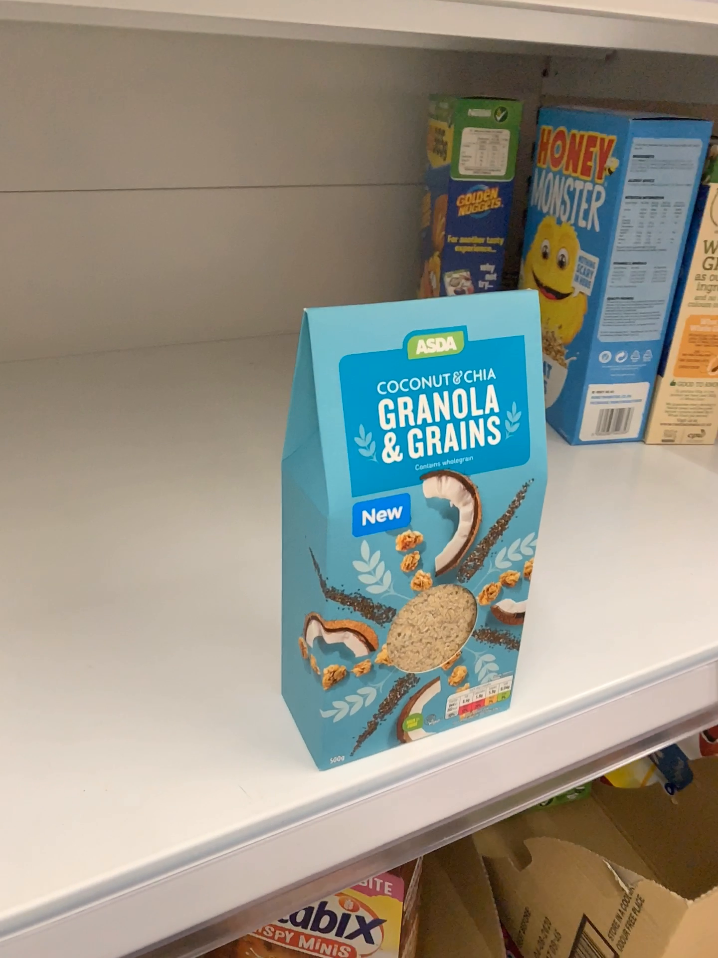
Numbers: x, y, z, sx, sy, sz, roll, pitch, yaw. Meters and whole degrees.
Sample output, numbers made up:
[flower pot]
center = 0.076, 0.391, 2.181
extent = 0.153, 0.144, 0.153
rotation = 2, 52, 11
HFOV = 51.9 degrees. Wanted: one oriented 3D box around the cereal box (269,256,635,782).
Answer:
[cereal box]
center = 0.034, 0.021, 0.370
extent = 0.140, 0.238, 0.070
rotation = -9, 30, -22
